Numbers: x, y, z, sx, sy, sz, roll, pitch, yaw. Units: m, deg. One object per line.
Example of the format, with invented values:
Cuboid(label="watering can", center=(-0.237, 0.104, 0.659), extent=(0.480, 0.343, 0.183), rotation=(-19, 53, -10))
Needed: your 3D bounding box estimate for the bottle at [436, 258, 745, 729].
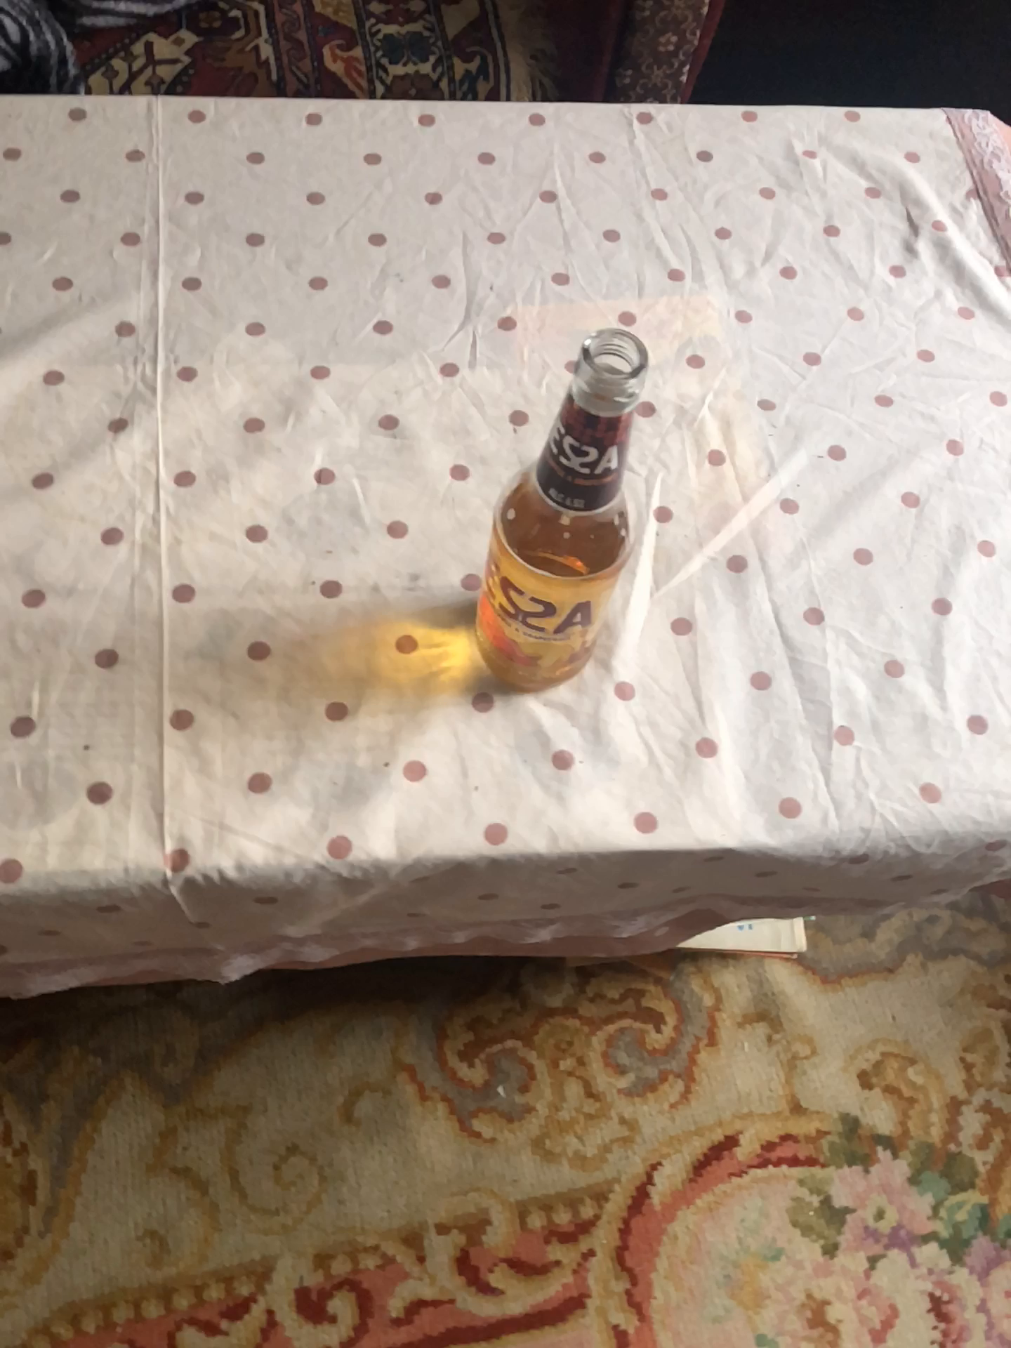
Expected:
Cuboid(label="bottle", center=(0.027, -0.067, 0.504), extent=(0.080, 0.209, 0.080), rotation=(2, 63, -5))
